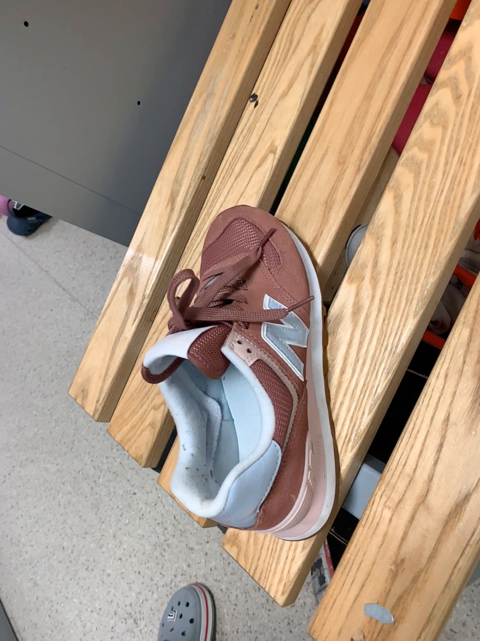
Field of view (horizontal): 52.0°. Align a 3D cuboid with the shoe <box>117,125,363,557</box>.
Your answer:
[{"bbox_3d":[-0.010,0.018,0.354,0.110,0.105,0.260,-21,64,34],"label":"shoe"}]
